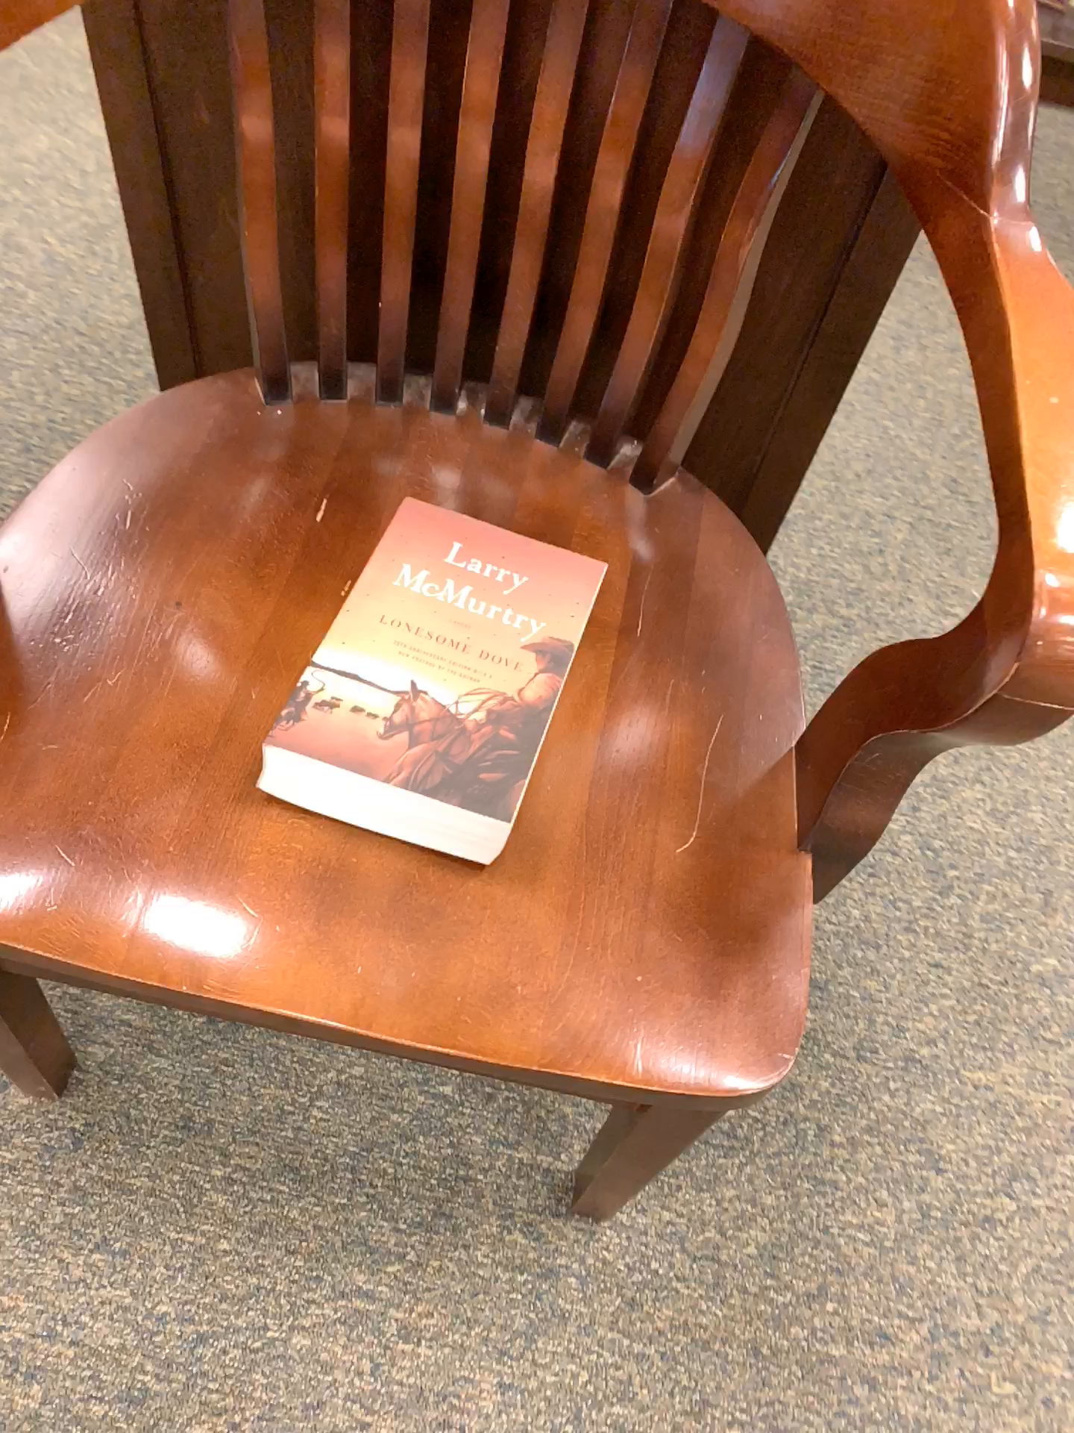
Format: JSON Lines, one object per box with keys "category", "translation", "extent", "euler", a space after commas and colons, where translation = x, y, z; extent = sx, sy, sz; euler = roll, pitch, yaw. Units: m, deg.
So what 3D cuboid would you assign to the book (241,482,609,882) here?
{"category": "book", "translation": [-0.056, -0.027, 0.623], "extent": [0.140, 0.060, 0.201], "euler": [18, 53, 3]}
